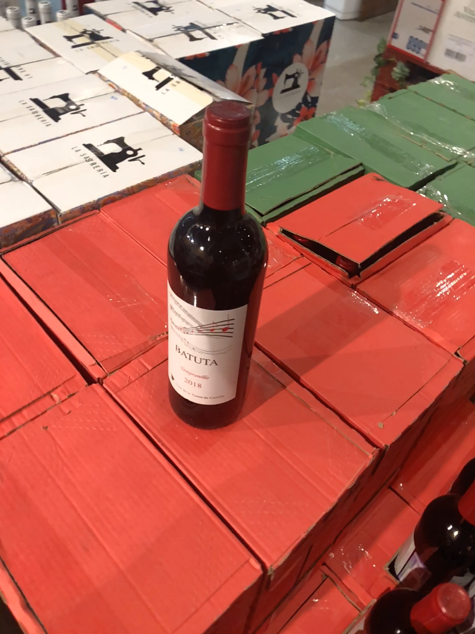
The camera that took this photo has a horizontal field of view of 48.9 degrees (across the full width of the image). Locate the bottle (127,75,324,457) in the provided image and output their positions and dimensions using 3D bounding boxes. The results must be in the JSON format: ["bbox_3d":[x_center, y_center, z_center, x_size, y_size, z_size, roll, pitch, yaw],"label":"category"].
[{"bbox_3d":[-0.014,-0.013,0.394,0.090,0.287,0.081,15,47,8],"label":"bottle"}]
